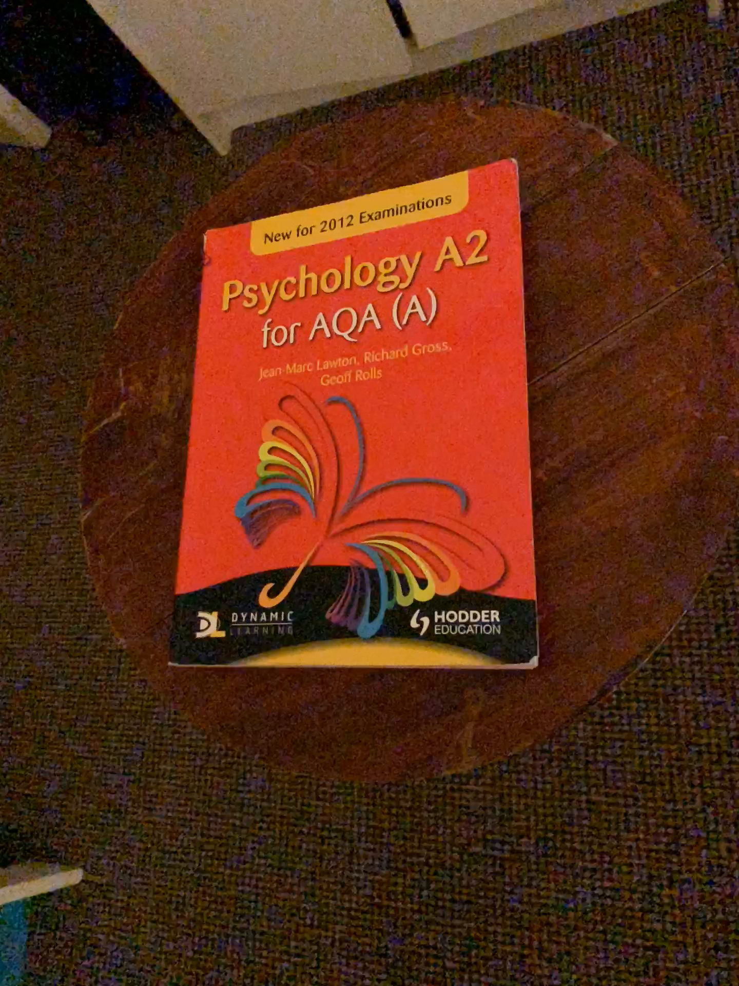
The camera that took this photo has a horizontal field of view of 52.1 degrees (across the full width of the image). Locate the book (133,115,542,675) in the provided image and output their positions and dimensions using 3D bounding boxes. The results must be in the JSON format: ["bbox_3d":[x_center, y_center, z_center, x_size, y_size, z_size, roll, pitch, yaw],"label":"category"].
[{"bbox_3d":[-0.018,-0.050,0.423,0.210,0.040,0.291,-5,73,22],"label":"book"}]
